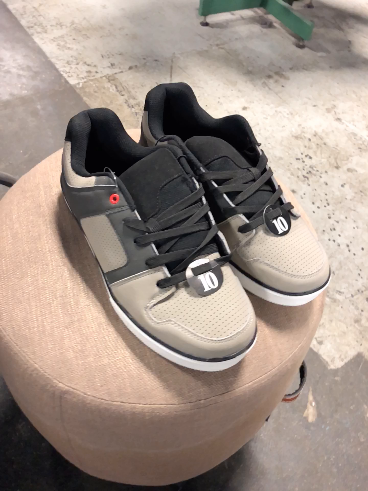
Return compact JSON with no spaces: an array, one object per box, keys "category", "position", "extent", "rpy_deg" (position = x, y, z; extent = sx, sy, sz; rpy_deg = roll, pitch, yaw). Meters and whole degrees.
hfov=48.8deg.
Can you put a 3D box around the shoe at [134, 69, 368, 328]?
[{"category":"shoe","position":[0.064,-0.068,0.437],"extent":[0.110,0.089,0.281],"rpy_deg":[-25,59,-23]}]

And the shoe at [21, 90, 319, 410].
[{"category":"shoe","position":[-0.031,-0.018,0.376],"extent":[0.120,0.089,0.281],"rpy_deg":[-25,59,-23]}]
